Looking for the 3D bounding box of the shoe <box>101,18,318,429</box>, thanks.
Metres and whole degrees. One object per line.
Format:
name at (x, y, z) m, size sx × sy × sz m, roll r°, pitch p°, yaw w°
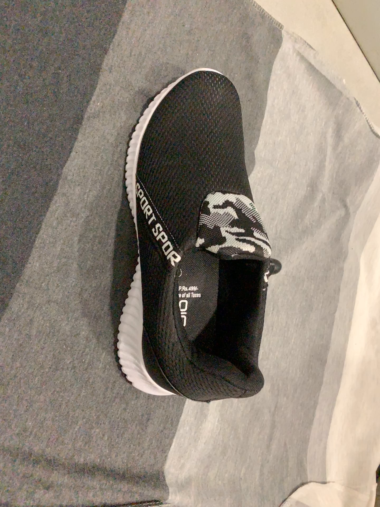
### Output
shoe at (0.014, -0.015, 0.294) m, size 0.100 × 0.100 × 0.240 m, roll 9°, pitch 84°, yaw -33°
